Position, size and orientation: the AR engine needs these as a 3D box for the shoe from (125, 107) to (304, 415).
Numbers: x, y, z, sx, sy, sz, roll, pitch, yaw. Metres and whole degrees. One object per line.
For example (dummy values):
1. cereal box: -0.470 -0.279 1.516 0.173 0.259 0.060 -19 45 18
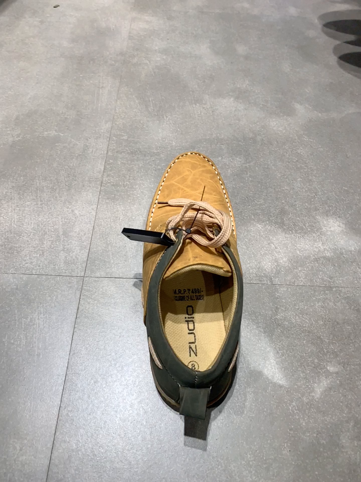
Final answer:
1. shoe: 0.019 0.009 0.352 0.111 0.117 0.267 1 56 -2
